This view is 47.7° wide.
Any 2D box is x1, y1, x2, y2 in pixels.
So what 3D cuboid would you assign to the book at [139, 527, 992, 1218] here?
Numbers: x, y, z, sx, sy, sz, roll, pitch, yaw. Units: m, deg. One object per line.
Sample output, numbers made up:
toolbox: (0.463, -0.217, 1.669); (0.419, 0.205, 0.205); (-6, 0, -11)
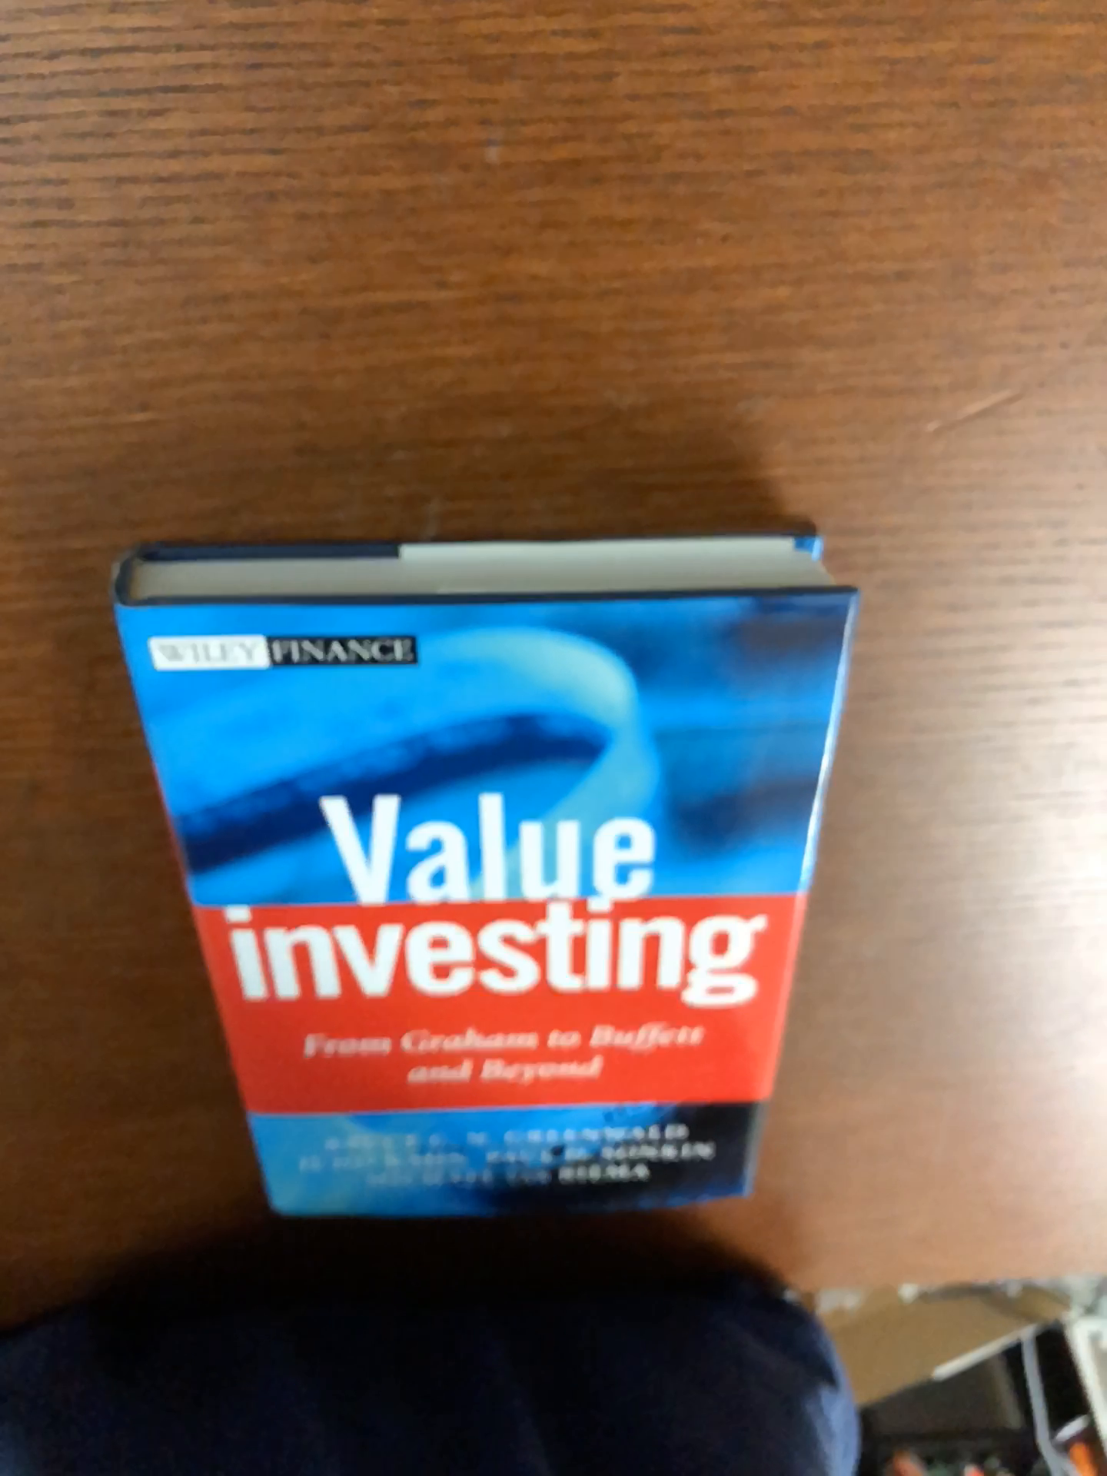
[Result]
book: (0.002, 0.052, 0.329); (0.170, 0.020, 0.231); (-1, 129, -2)
